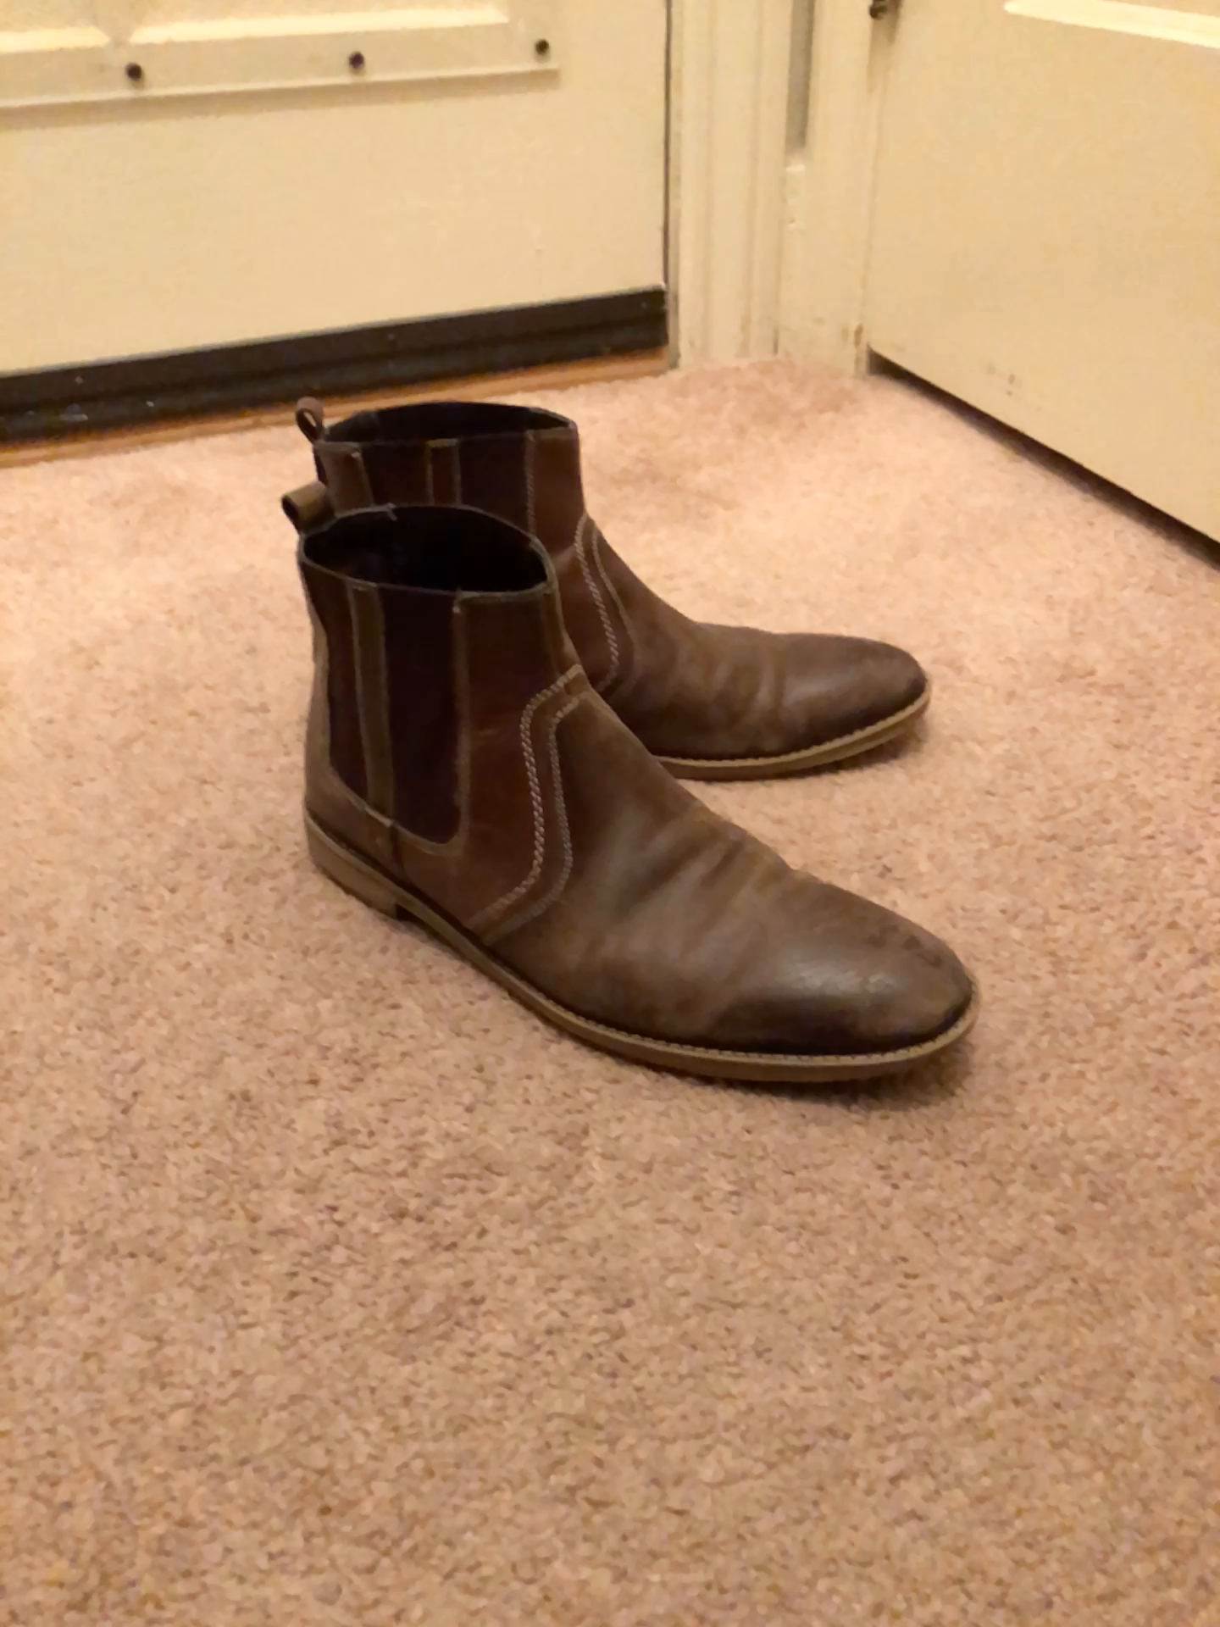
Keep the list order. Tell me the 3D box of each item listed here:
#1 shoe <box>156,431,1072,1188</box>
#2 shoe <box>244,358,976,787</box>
[{"bbox_3d":[-0.008,-0.020,0.502,0.298,0.158,0.119,22,41,28],"label":"shoe"},{"bbox_3d":[0.003,-0.117,0.638,0.298,0.158,0.119,2,35,4],"label":"shoe"}]
